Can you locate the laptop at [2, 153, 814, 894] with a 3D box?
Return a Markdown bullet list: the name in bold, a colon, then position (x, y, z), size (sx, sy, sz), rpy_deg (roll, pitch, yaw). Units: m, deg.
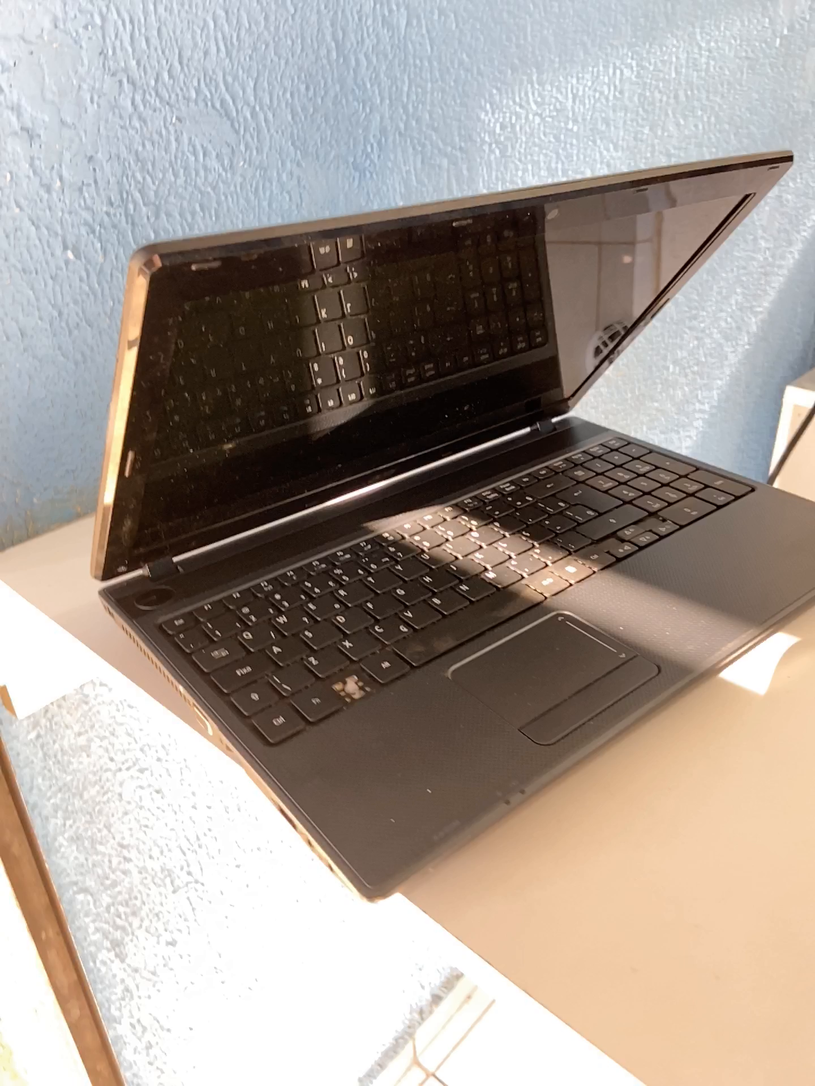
- **laptop**: position (0.052, -0.072, 0.426), size (0.377, 0.191, 0.248), rpy_deg (-23, 35, -32)
